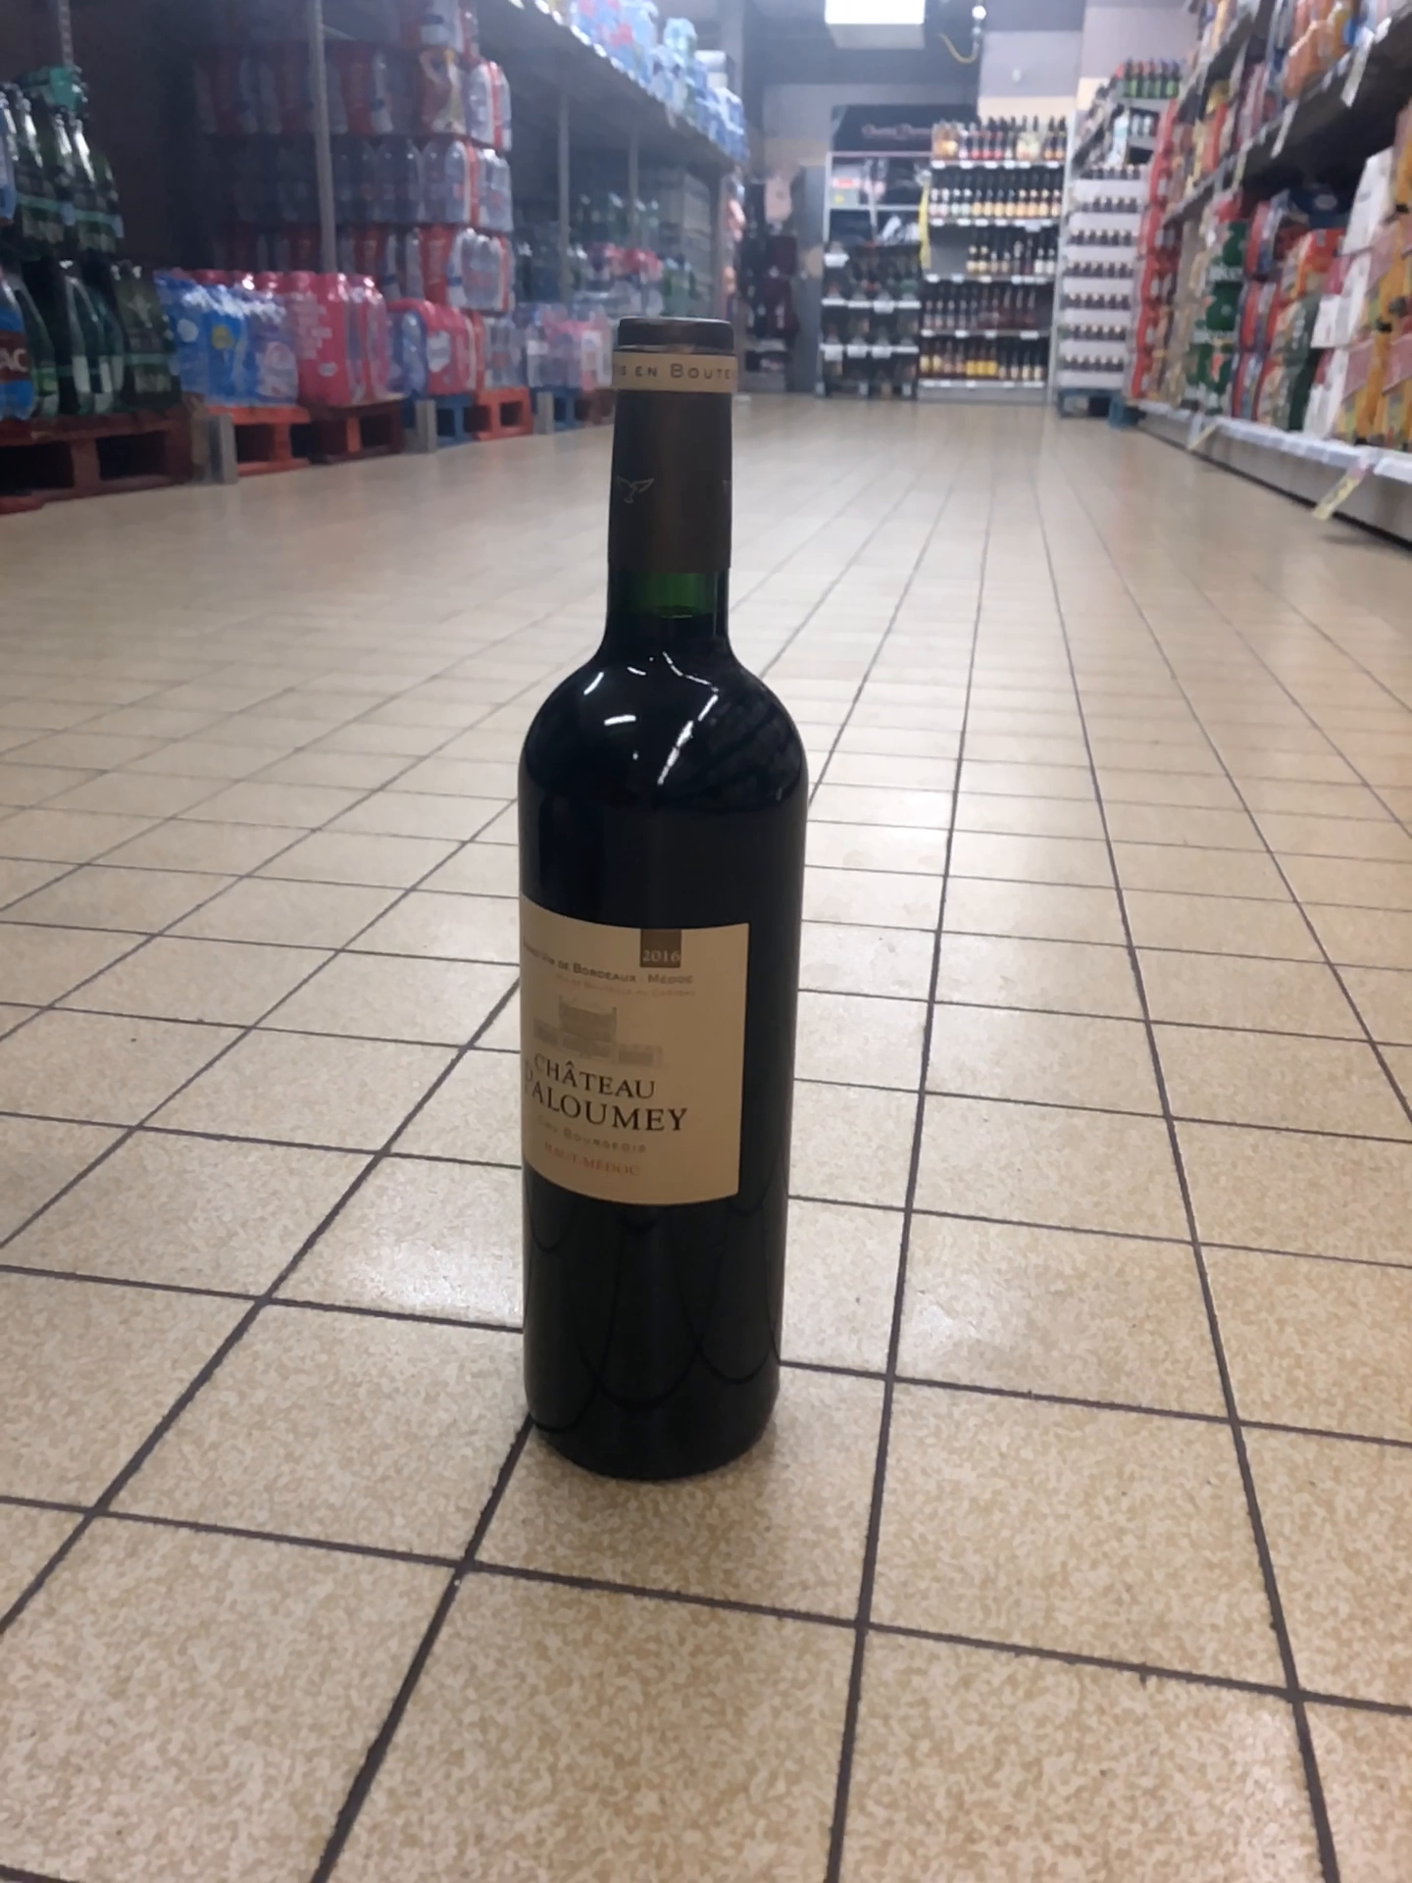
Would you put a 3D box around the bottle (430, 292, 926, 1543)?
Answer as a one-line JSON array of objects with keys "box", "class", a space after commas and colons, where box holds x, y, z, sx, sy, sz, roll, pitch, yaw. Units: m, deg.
[{"box": [-0.006, -0.006, 0.394, 0.080, 0.289, 0.091, 10, 21, 22], "class": "bottle"}]
